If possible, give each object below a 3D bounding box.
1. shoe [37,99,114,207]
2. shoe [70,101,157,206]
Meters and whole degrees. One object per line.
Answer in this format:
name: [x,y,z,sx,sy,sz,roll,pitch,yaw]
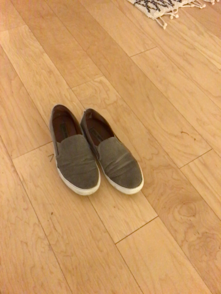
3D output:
shoe: [-0.101,0.004,0.646,0.120,0.050,0.281,-17,62,-13]
shoe: [-0.002,0.006,0.656,0.110,0.050,0.281,-24,64,-16]
